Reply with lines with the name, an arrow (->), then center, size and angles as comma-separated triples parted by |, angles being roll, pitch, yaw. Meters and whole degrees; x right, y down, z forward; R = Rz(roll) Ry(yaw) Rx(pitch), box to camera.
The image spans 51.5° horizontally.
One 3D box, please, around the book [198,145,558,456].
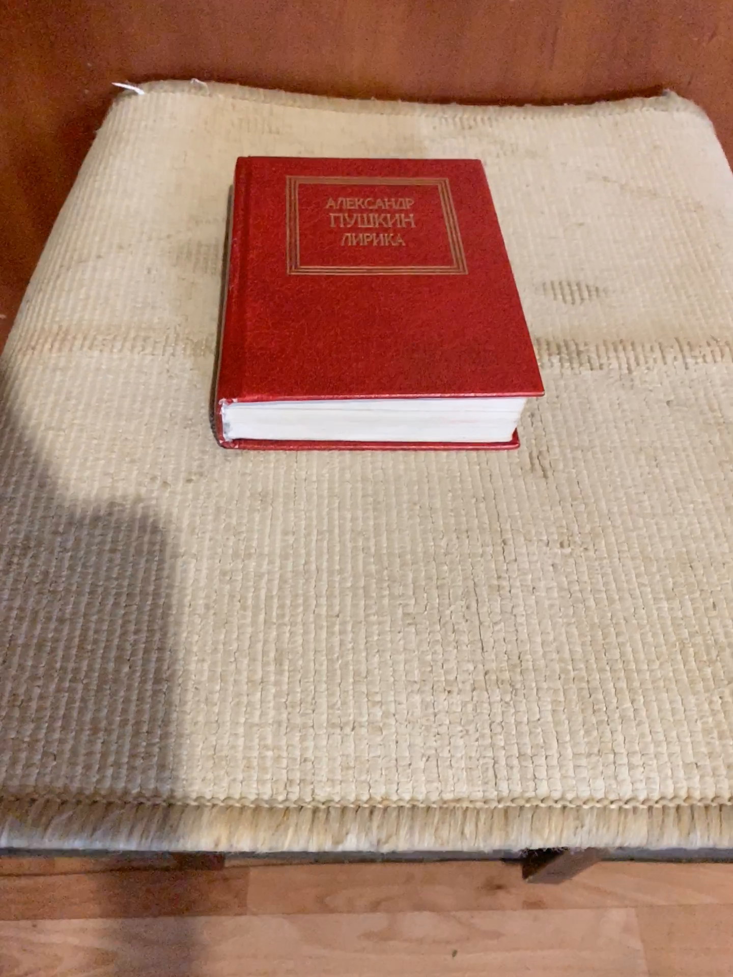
book -> 0.001, -0.083, 0.309 | 0.119, 0.034, 0.149 | -1, 54, -3
